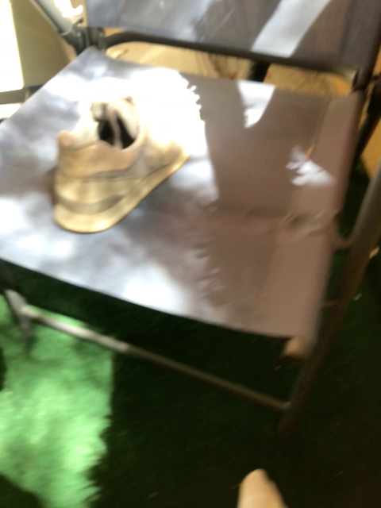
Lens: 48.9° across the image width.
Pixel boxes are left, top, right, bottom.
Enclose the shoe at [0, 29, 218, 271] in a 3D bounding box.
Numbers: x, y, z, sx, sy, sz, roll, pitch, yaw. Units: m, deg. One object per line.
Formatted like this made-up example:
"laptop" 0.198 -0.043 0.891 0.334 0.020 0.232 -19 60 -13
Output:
"shoe" -0.088 -0.142 0.527 0.124 0.104 0.288 21 64 20
